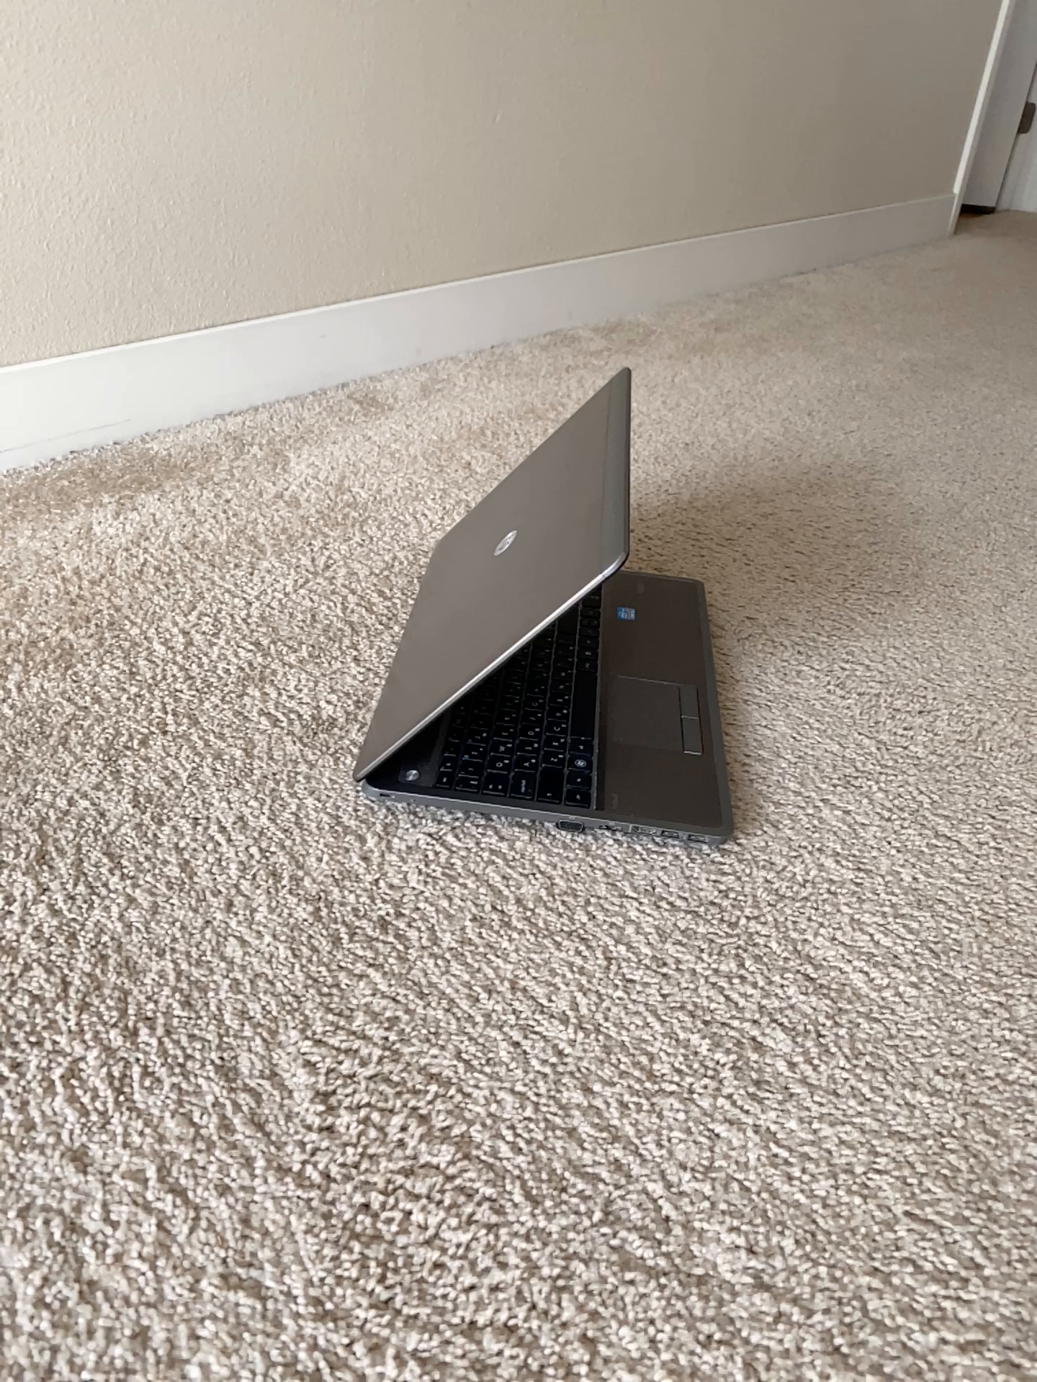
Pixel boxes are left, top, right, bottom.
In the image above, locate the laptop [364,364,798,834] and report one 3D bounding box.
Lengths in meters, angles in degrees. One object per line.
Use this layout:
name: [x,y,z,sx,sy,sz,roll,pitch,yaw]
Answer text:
laptop: [0.043,-0.096,0.819,0.253,0.186,0.370,6,33,1]
